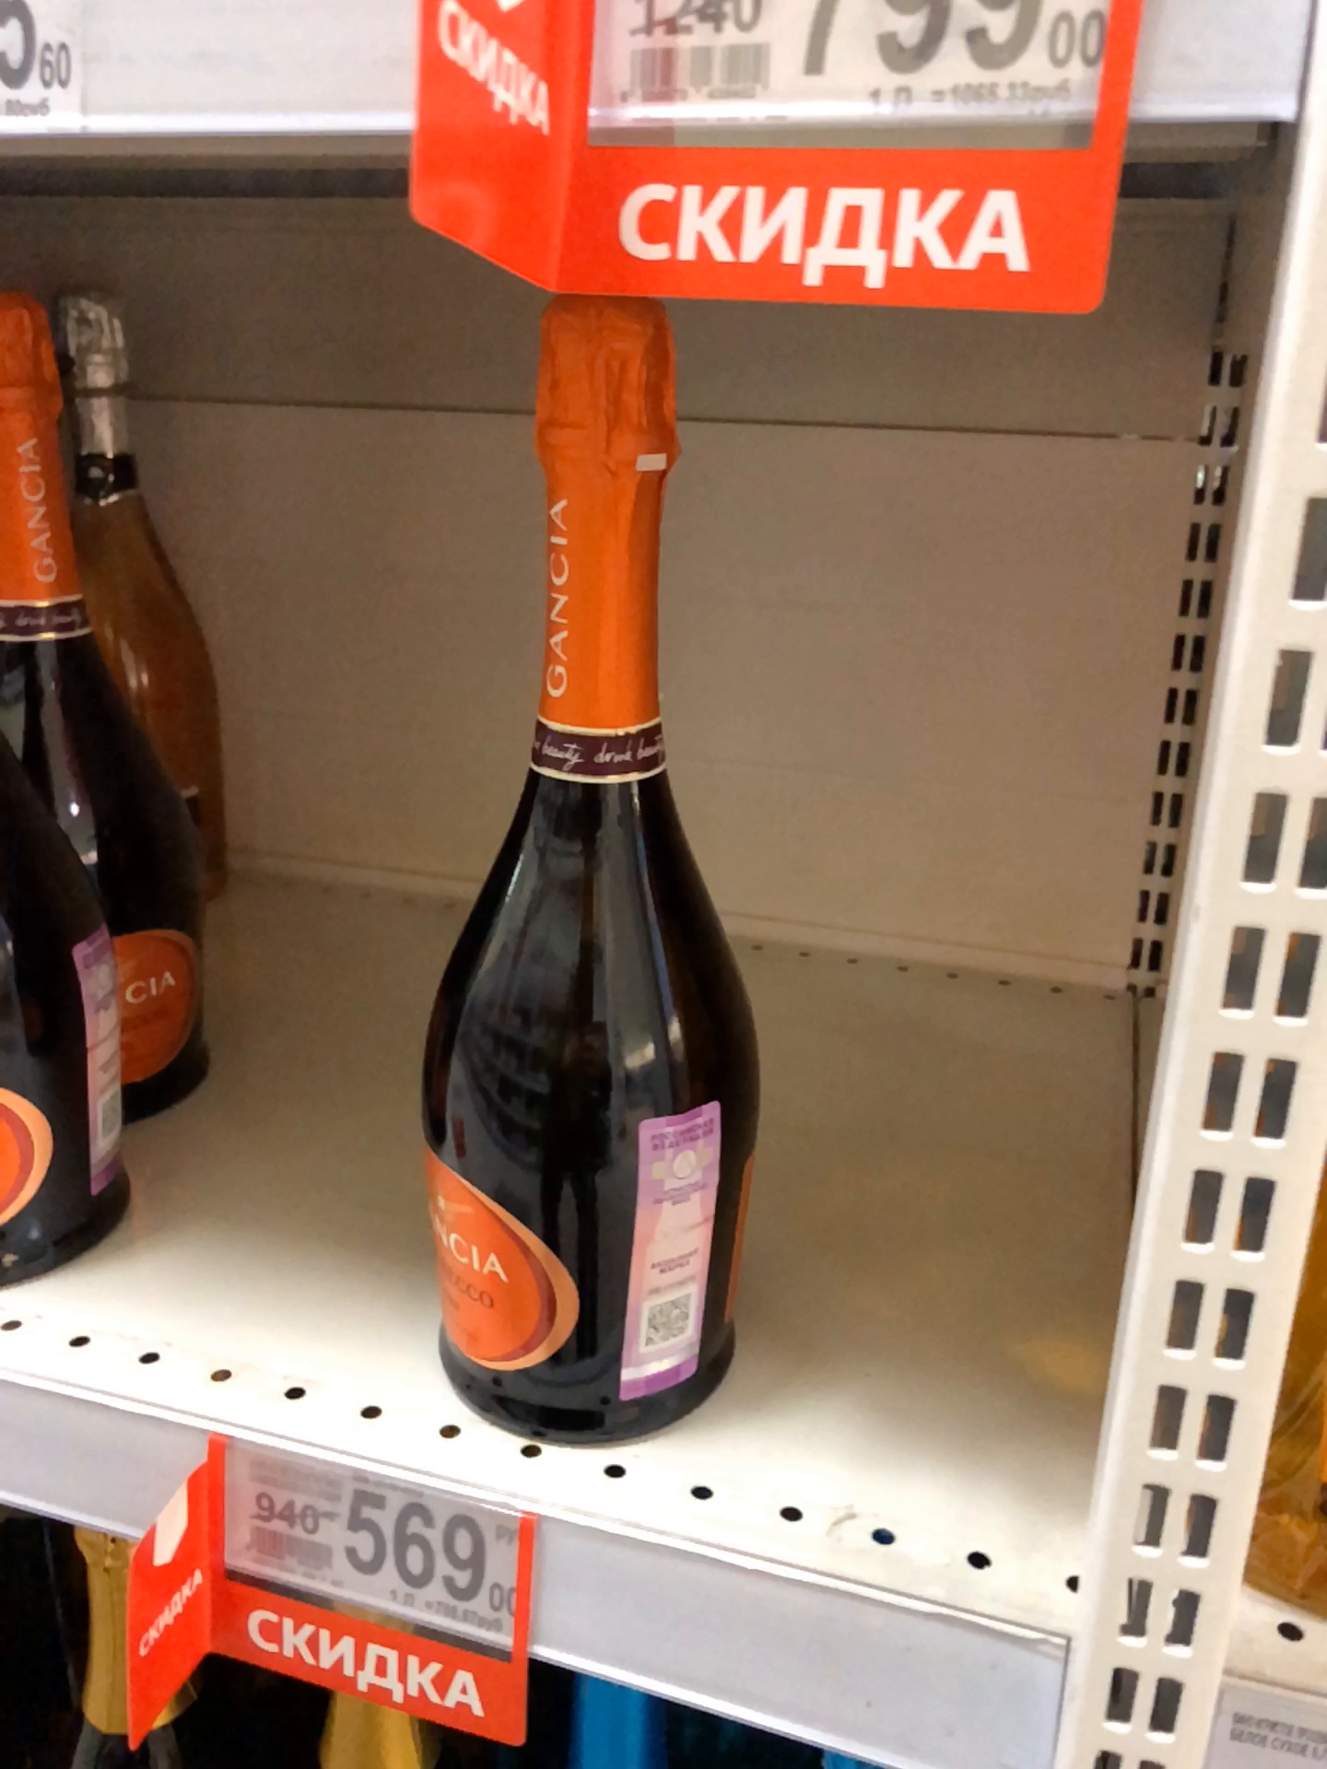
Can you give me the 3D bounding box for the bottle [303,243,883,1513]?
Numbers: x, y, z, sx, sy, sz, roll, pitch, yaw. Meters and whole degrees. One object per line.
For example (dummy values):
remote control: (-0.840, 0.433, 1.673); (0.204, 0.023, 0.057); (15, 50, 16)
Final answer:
bottle: (-0.023, -0.003, 0.402); (0.100, 0.309, 0.100); (1, 20, 0)
